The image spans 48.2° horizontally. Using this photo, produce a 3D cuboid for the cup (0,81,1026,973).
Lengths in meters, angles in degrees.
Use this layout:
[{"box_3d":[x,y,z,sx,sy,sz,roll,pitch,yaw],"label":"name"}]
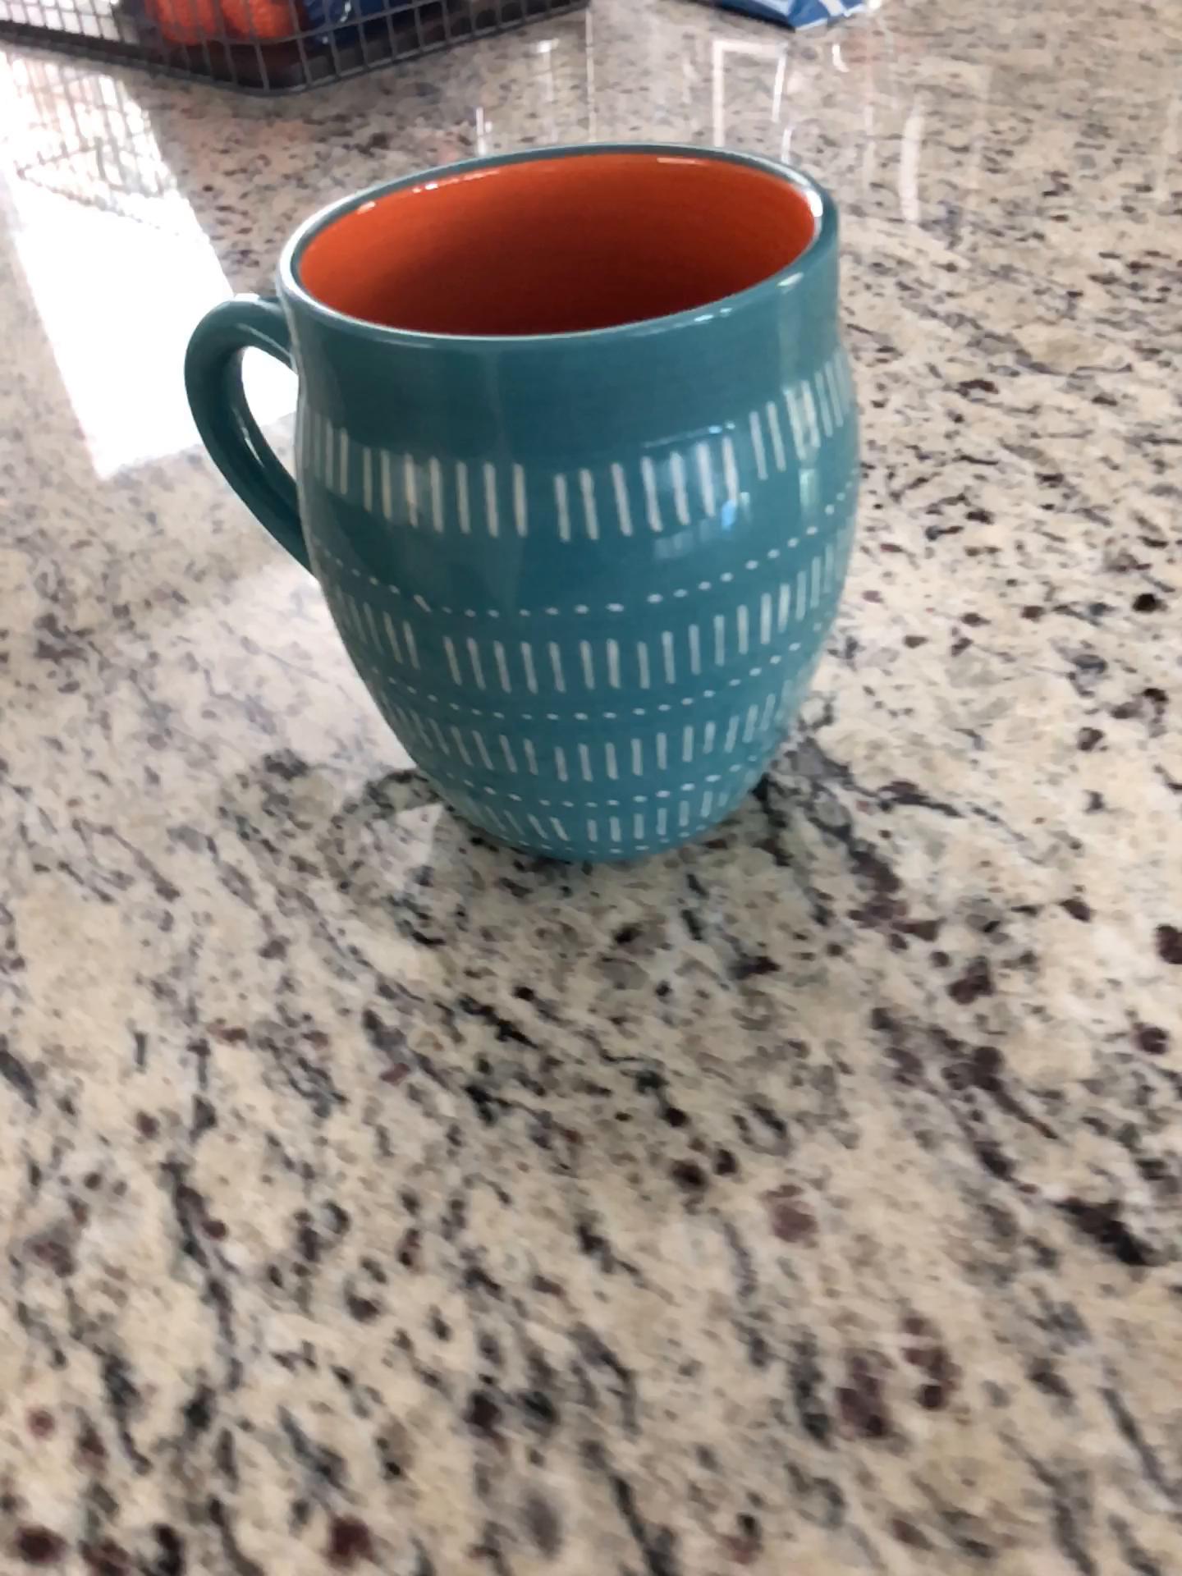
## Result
[{"box_3d":[-0.016,-0.065,0.264,0.150,0.099,0.111,29,51,33],"label":"cup"}]
